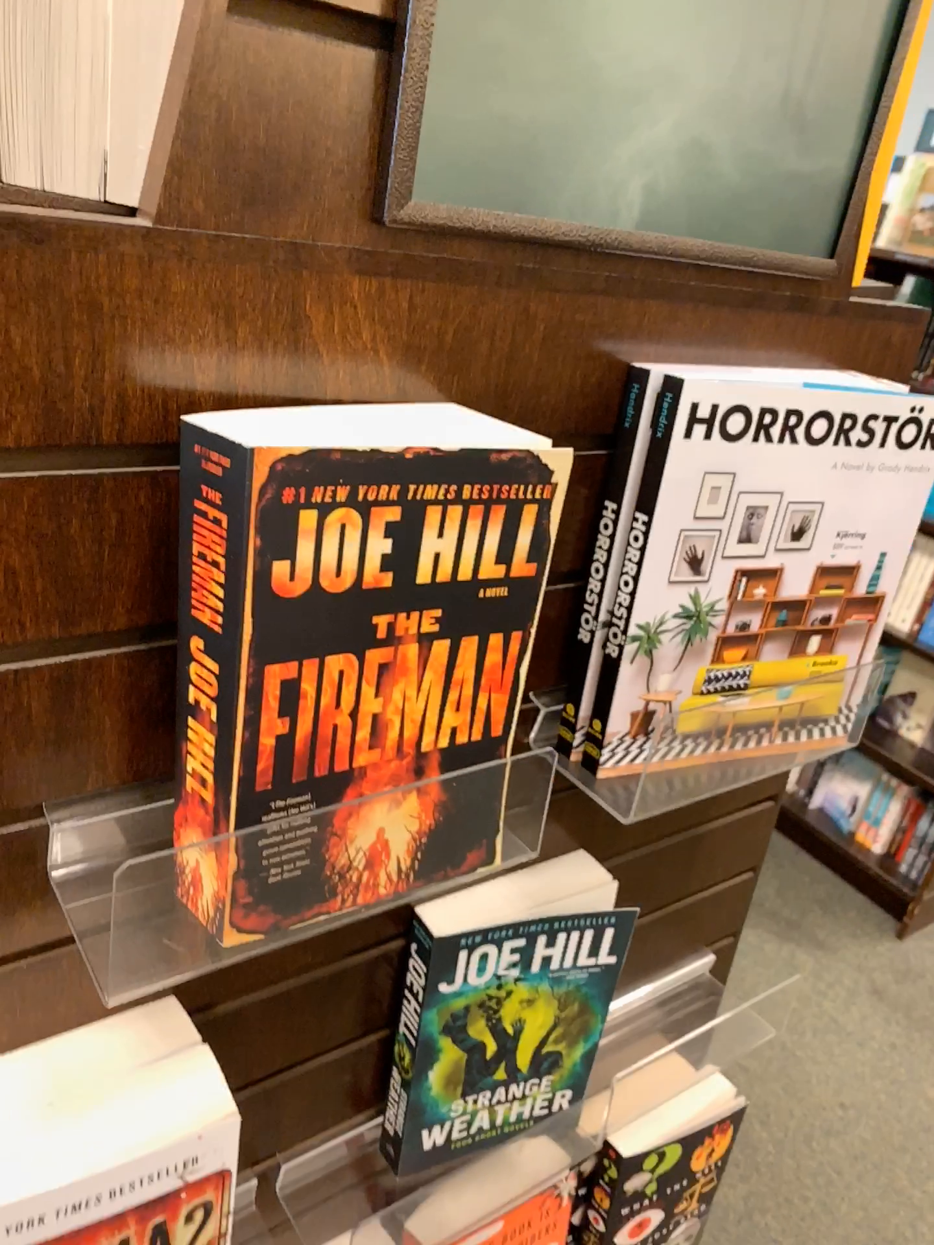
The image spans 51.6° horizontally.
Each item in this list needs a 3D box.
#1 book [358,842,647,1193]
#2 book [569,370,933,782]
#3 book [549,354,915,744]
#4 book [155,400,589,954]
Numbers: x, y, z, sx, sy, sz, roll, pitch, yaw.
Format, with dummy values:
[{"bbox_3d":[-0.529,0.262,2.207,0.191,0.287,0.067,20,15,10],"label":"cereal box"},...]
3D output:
[{"bbox_3d":[0.020,0.264,0.655,0.159,0.201,0.062,-3,24,-26],"label":"book"},{"bbox_3d":[0.159,-0.022,0.520,0.188,0.208,0.026,-3,24,-26],"label":"book"},{"bbox_3d":[0.150,-0.039,0.551,0.188,0.208,0.026,-3,24,-26],"label":"book"},{"bbox_3d":[-0.043,0.013,0.396,0.147,0.193,0.070,-9,27,-35],"label":"book"}]
